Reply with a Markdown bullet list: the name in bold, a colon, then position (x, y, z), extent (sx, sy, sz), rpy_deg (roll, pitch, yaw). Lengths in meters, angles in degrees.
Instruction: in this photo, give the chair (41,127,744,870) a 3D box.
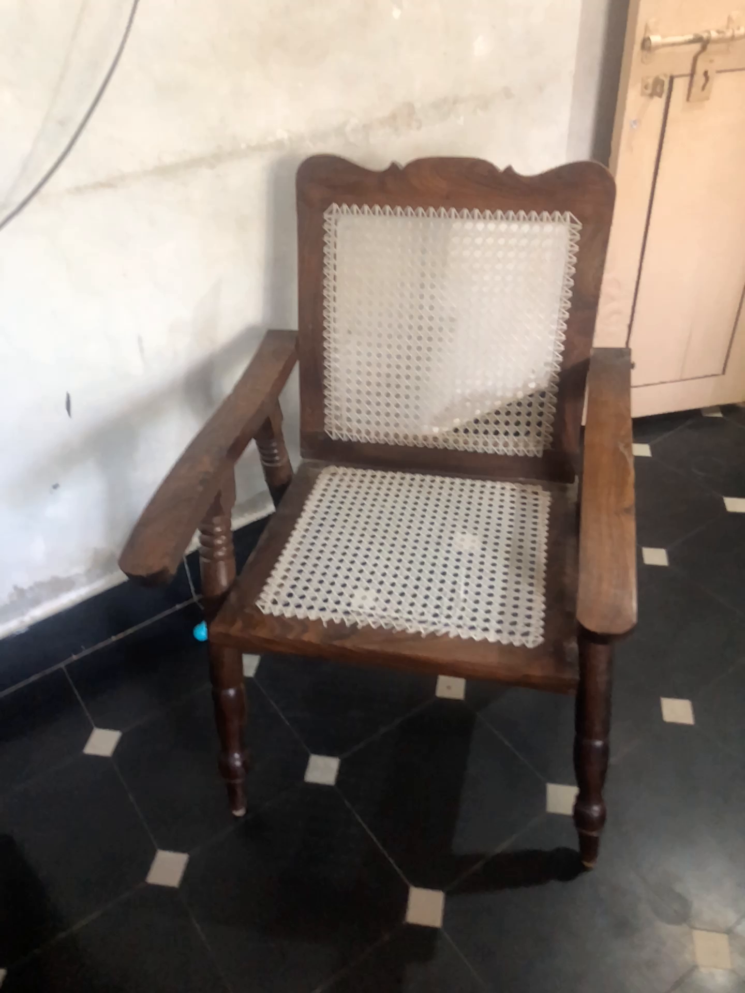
- **chair**: position (0.071, 0.000, 1.106), extent (0.580, 0.796, 0.563), rpy_deg (4, 40, 9)
